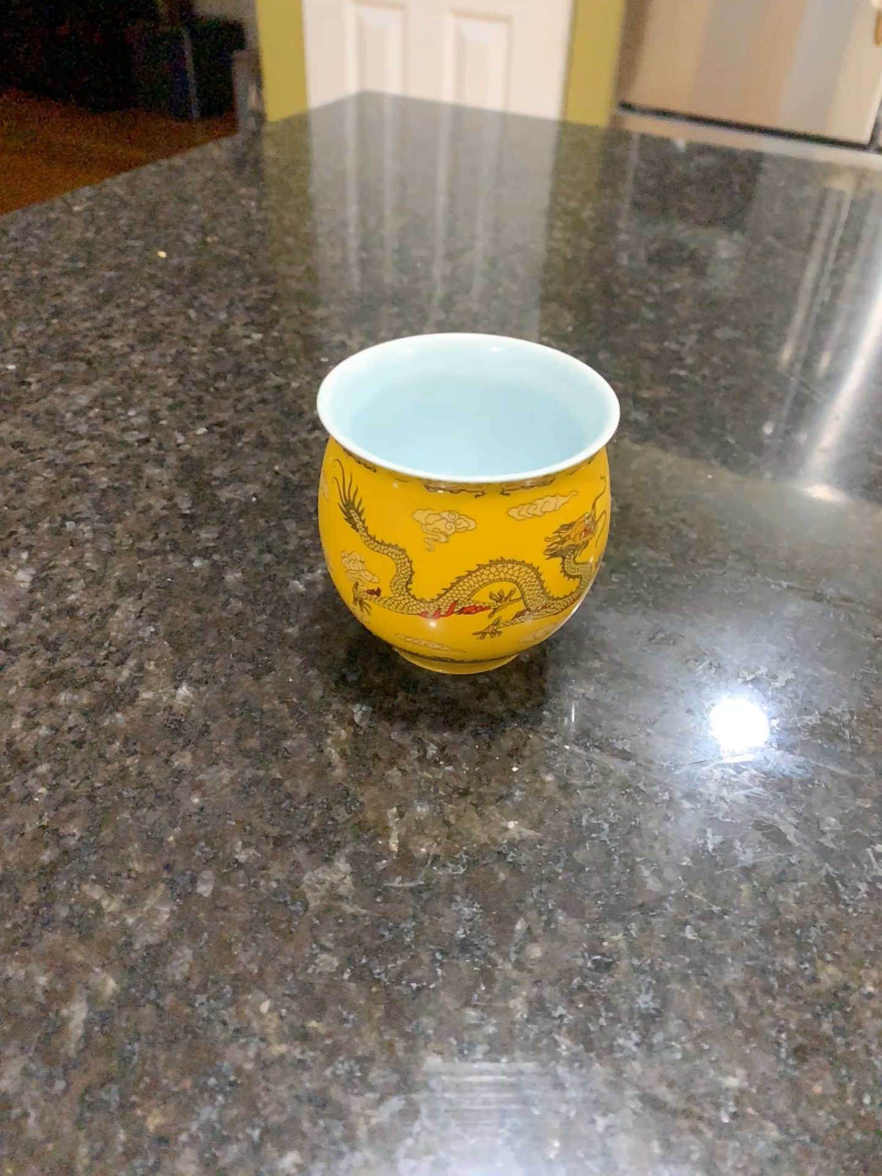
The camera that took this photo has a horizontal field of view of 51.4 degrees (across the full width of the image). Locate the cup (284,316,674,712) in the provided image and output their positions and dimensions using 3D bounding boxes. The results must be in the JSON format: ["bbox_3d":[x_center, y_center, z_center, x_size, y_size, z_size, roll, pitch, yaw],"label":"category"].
[{"bbox_3d":[0.005,-0.020,0.225,0.075,0.066,0.073,1,39,-1],"label":"cup"}]
